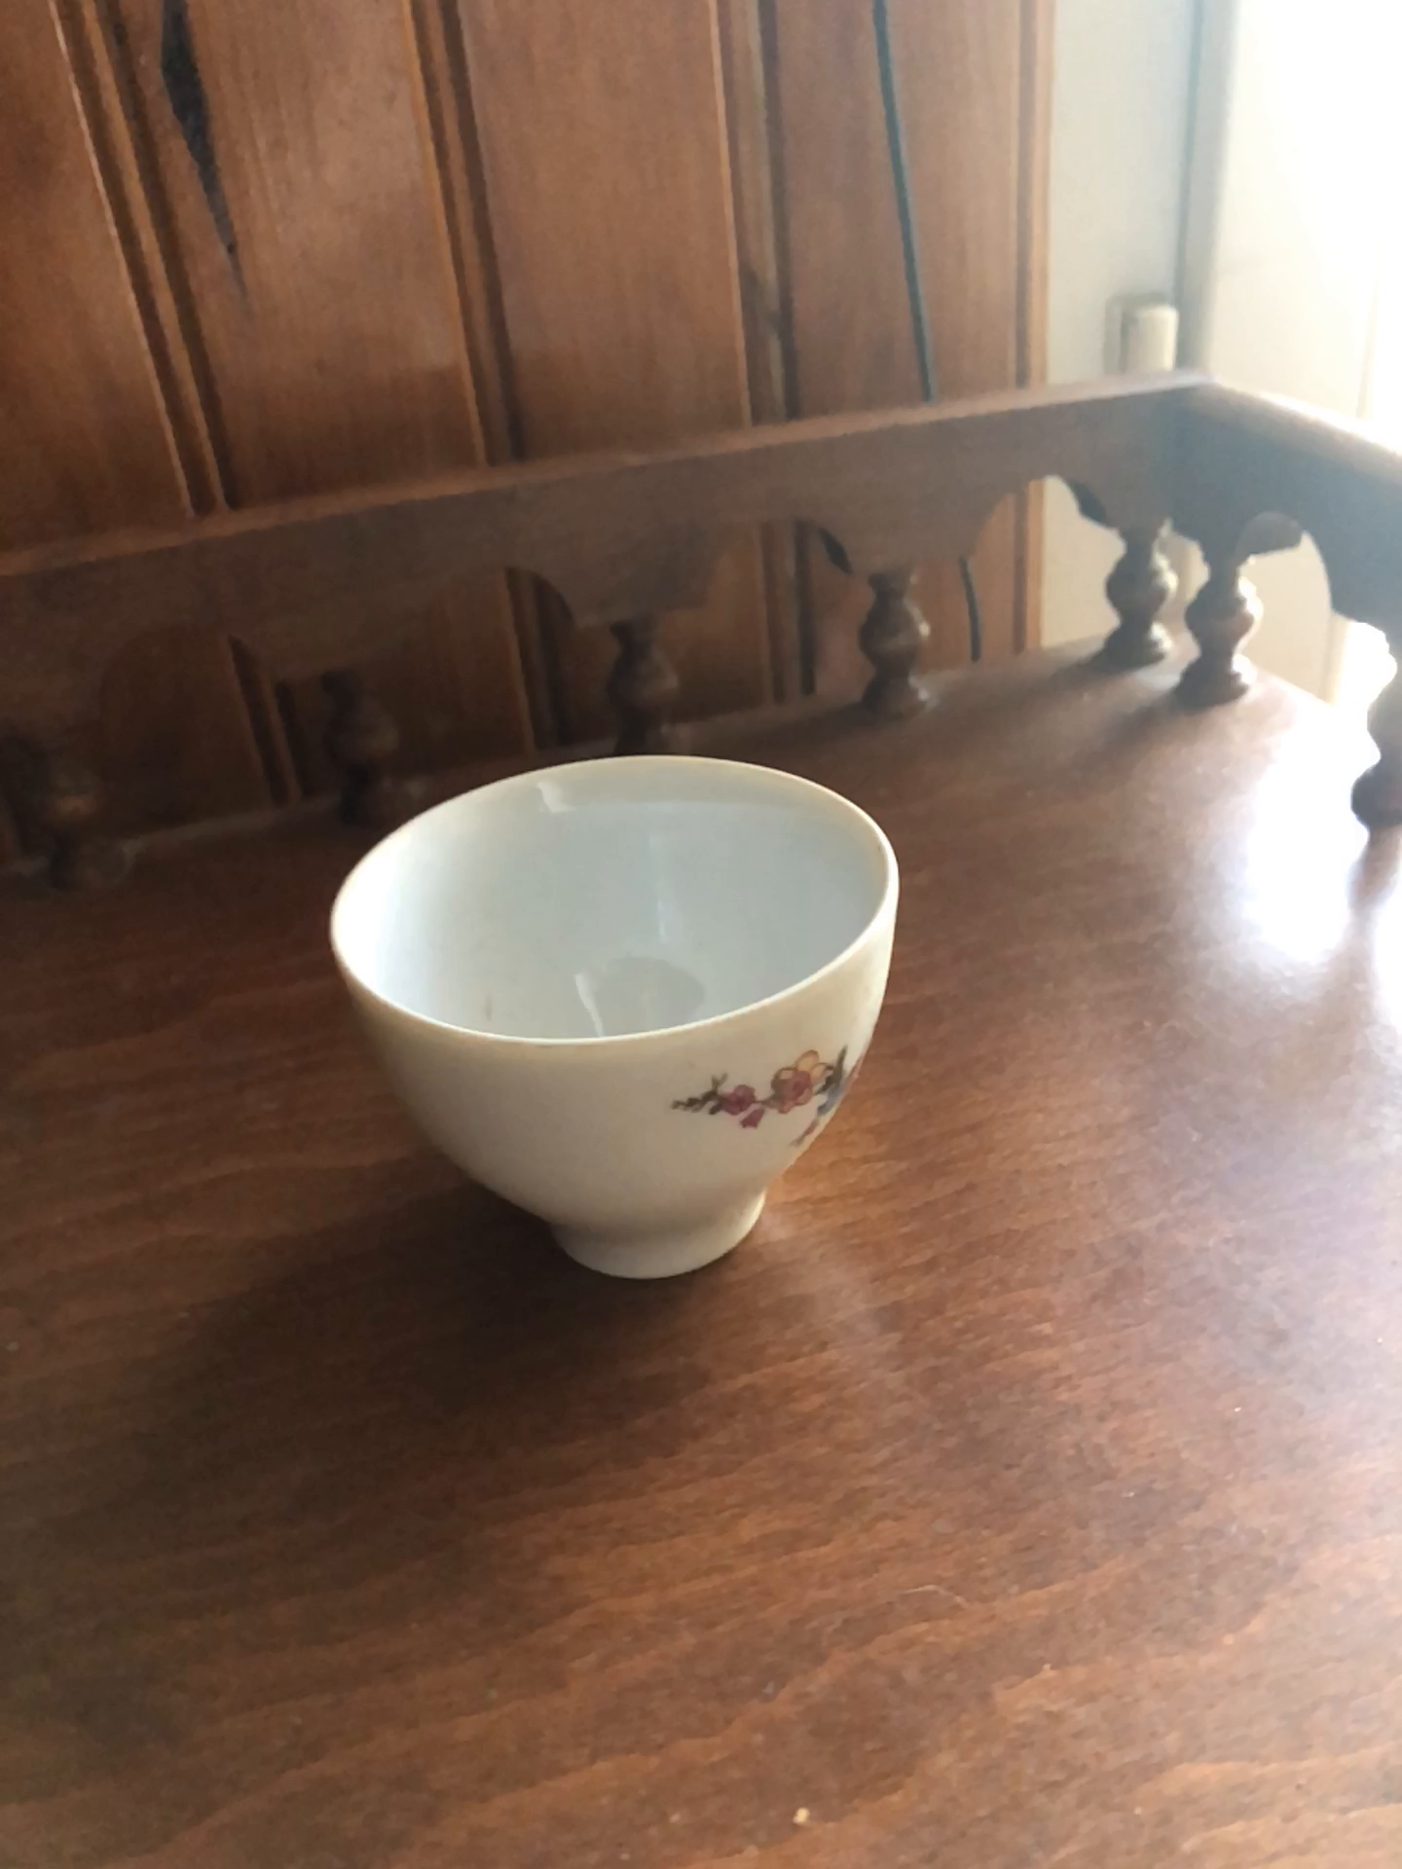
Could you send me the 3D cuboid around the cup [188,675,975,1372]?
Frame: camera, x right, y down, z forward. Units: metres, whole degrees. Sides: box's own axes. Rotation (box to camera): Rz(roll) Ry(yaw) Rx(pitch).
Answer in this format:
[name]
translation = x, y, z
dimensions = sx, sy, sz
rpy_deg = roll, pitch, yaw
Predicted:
[cup]
translation = -0.008, 0.005, 0.229
dimensions = 0.080, 0.050, 0.091
rpy_deg = 6, 33, 19
